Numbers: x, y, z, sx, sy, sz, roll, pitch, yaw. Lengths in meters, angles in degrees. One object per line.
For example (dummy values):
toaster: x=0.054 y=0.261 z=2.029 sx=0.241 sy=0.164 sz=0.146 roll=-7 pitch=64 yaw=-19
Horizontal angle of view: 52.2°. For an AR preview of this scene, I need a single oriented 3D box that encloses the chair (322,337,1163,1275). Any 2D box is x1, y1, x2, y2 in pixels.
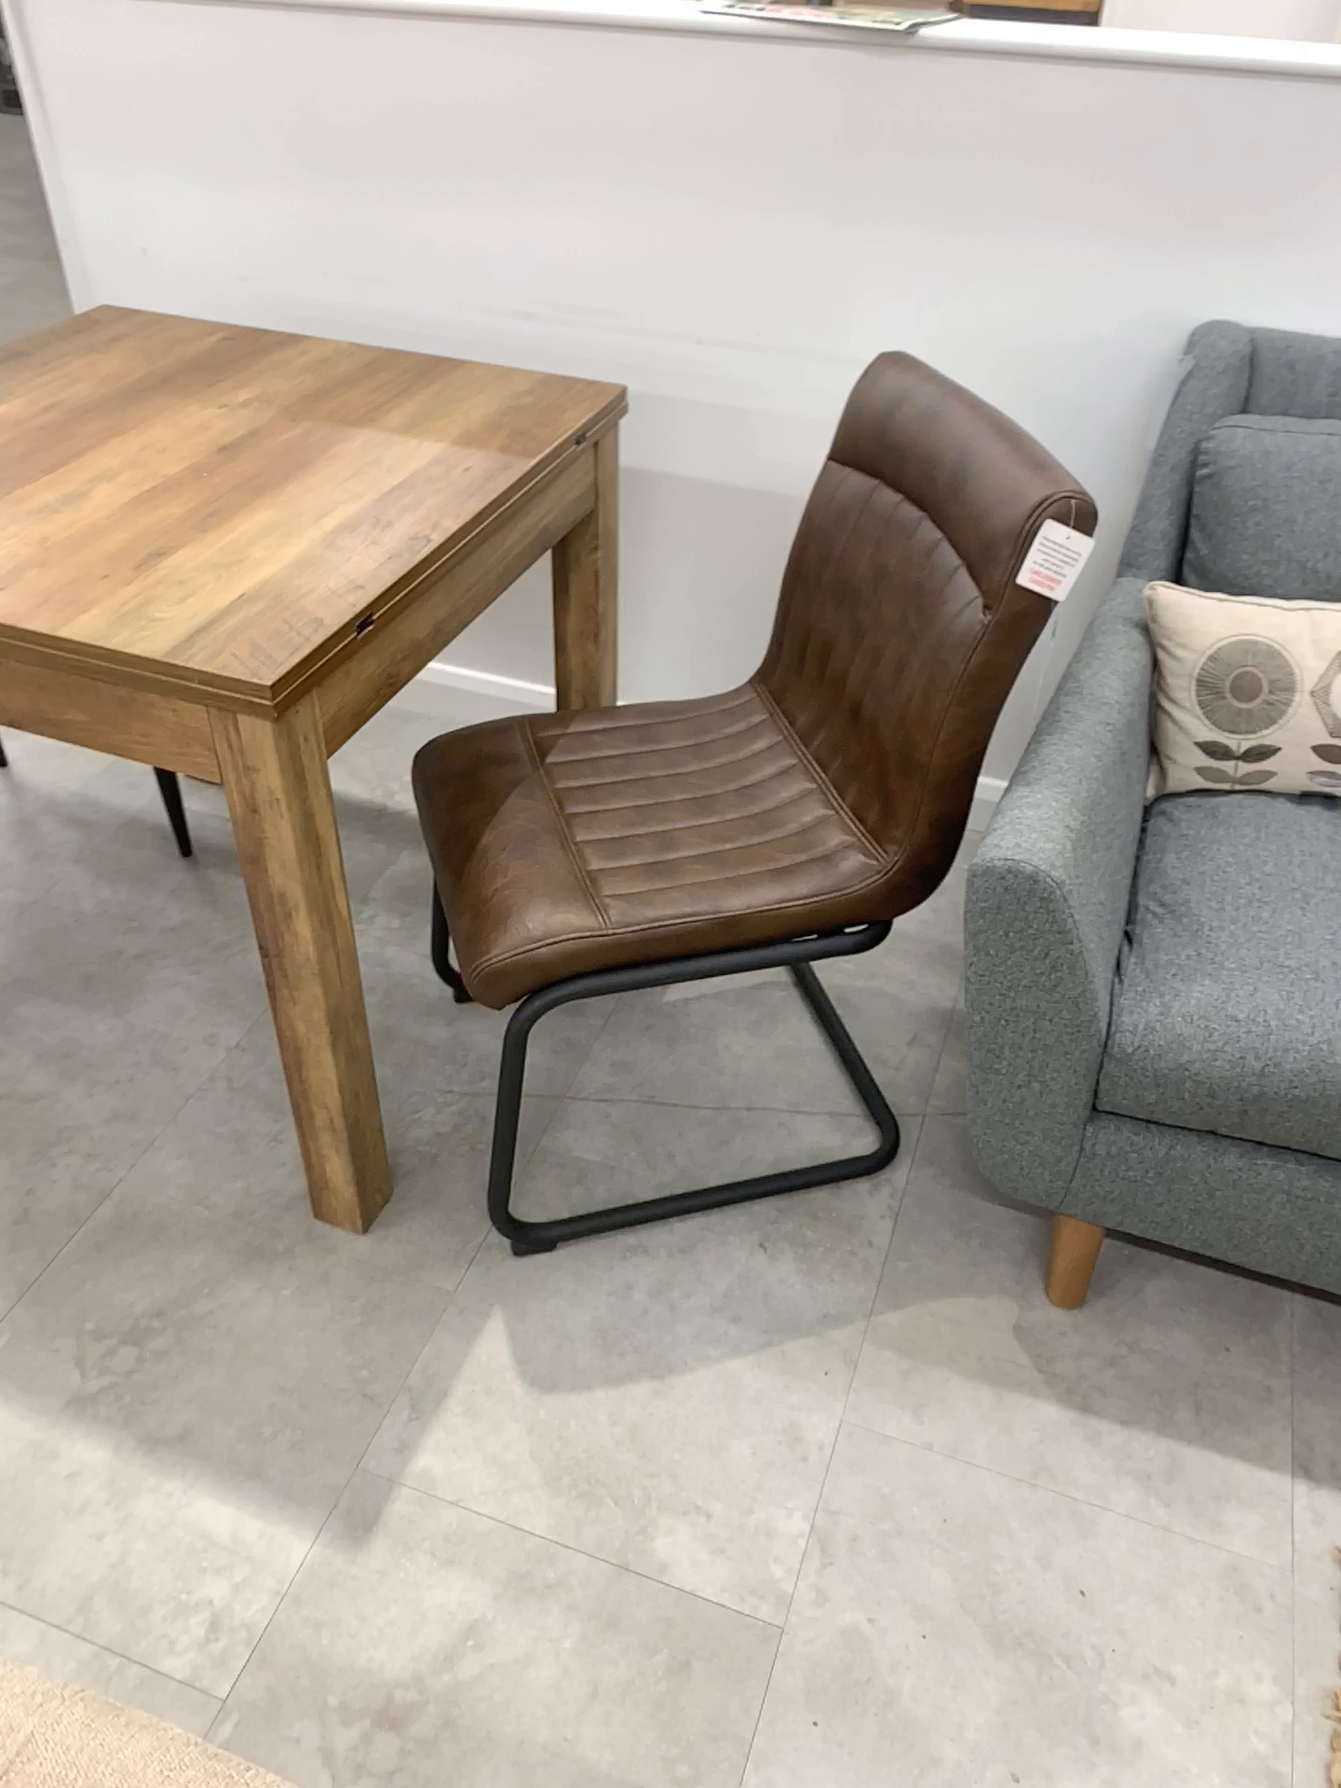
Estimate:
chair: x=0.020 y=-0.100 z=1.464 sx=0.632 sy=0.773 sz=0.502 roll=-9 pitch=40 yaw=-12
